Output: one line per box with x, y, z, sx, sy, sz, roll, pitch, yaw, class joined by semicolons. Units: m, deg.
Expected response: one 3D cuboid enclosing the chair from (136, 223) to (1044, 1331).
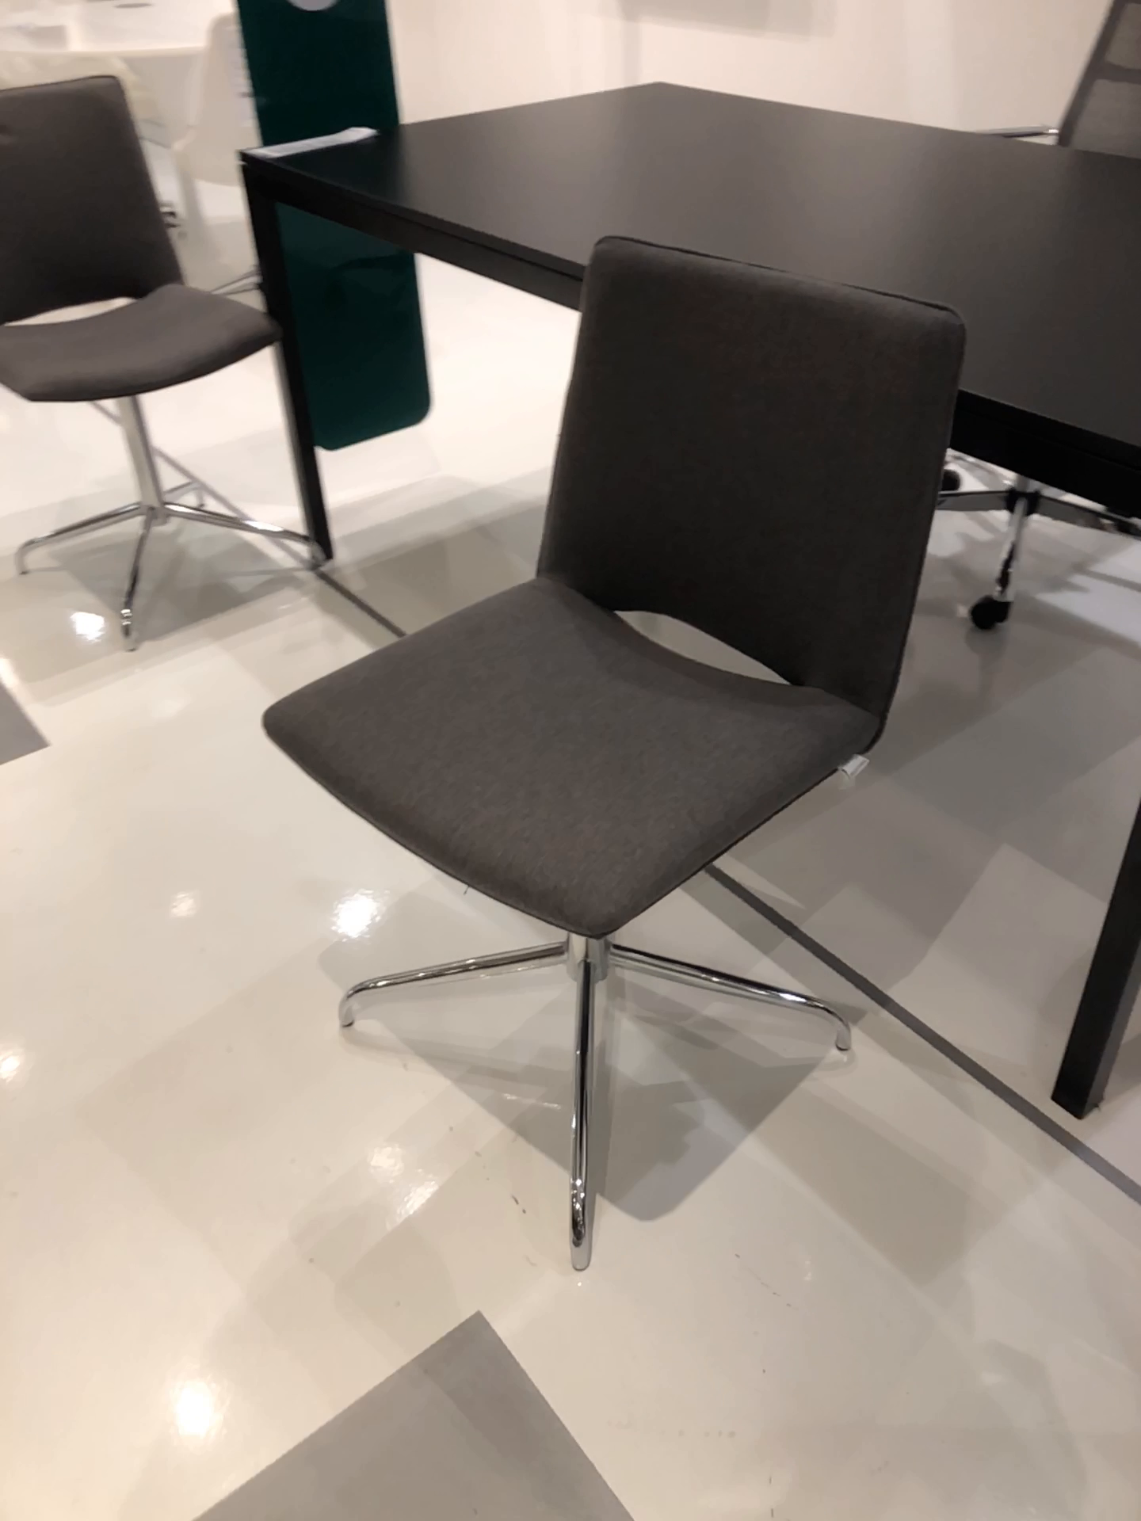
0.028;-0.007;1.273;0.522;0.843;0.532;29;46;35;chair
